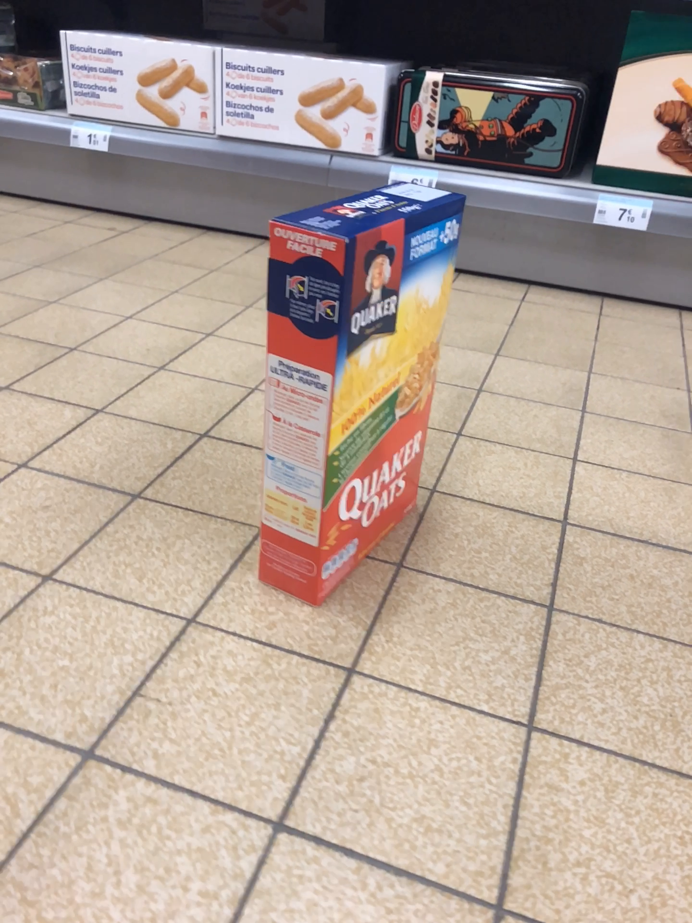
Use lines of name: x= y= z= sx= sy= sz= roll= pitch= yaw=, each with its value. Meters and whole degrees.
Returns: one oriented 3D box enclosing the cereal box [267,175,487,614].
cereal box: x=0.017 y=-0.043 z=0.464 sx=0.050 sy=0.229 sz=0.141 roll=21 pitch=33 yaw=25
